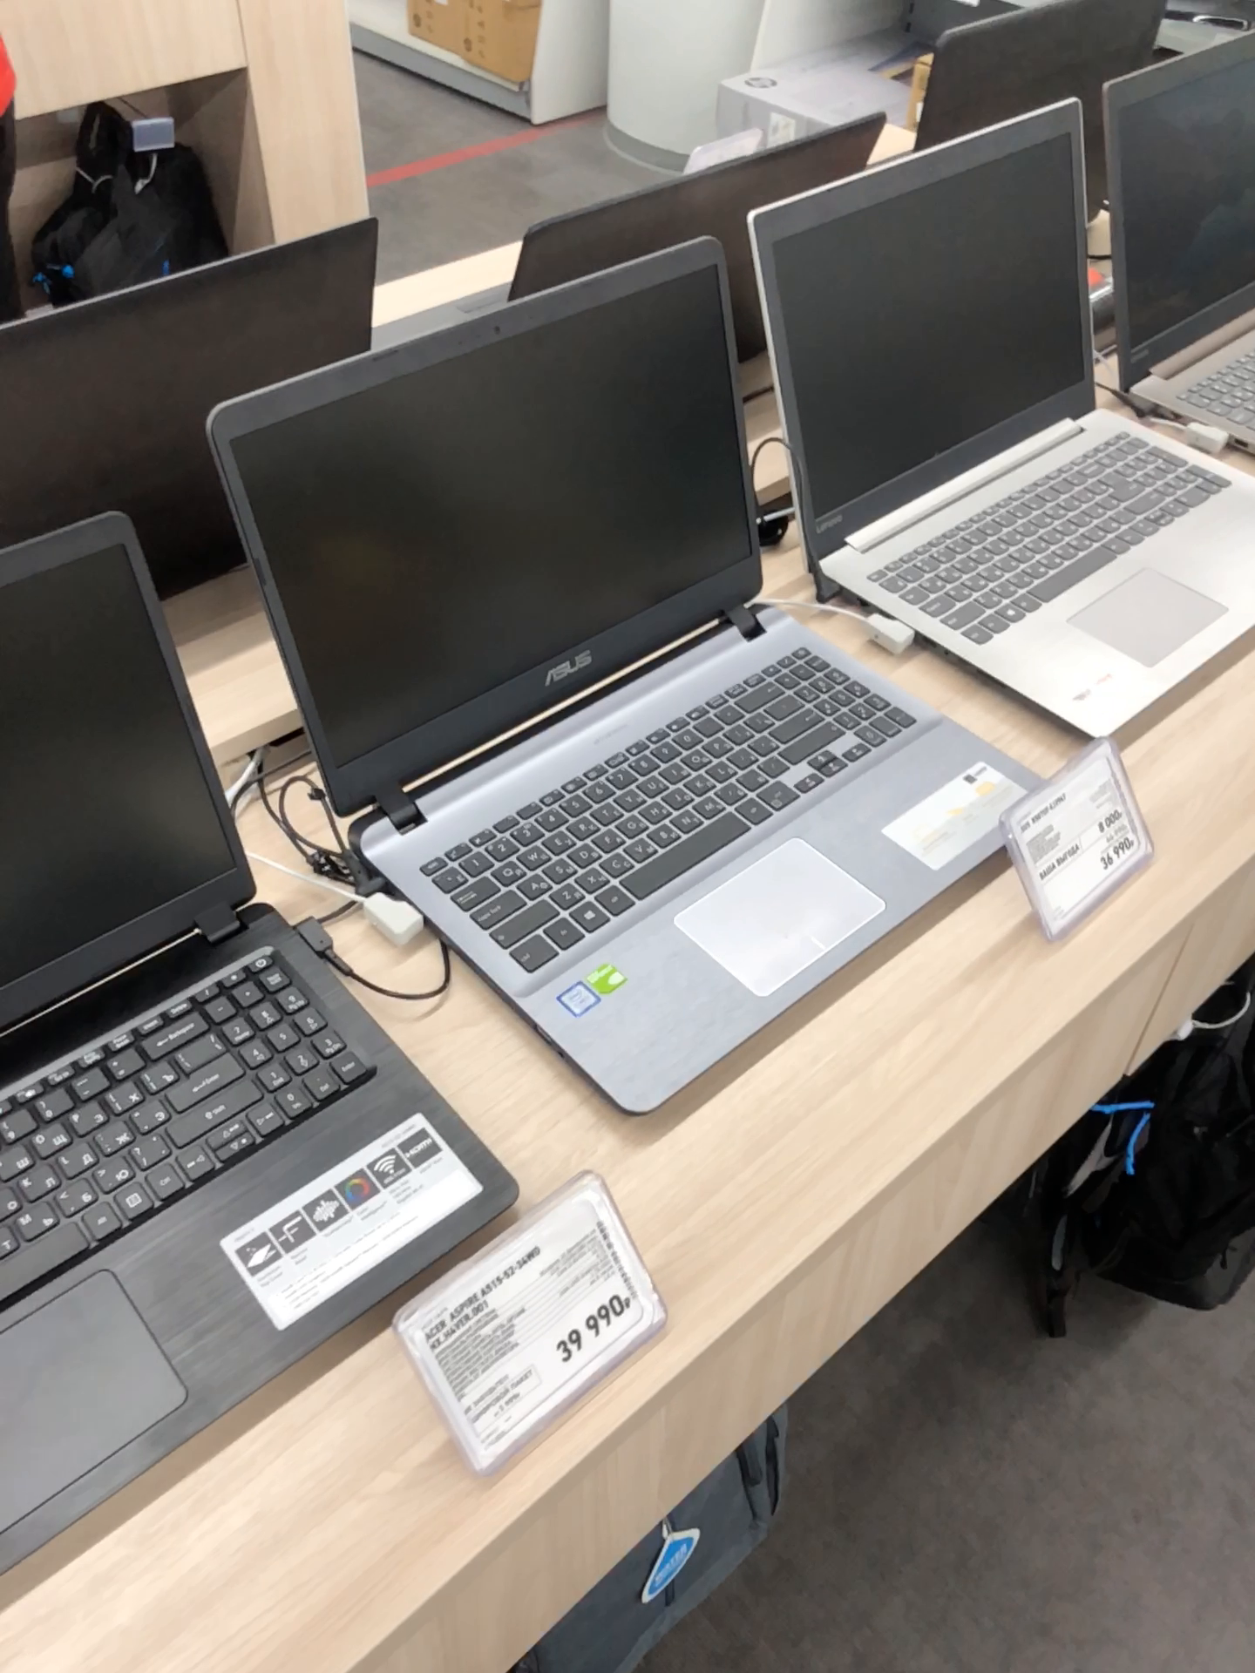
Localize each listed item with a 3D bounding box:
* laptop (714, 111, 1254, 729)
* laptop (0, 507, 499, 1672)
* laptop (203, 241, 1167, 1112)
[{"bbox_3d":[0.330,-0.316,0.980,0.371,0.220,0.333,-33,57,-31],"label":"laptop"},{"bbox_3d":[-0.271,0.083,0.552,0.333,0.222,0.292,-30,54,-29],"label":"laptop"},{"bbox_3d":[0.026,-0.116,0.759,0.346,0.226,0.329,-32,55,-30],"label":"laptop"}]
